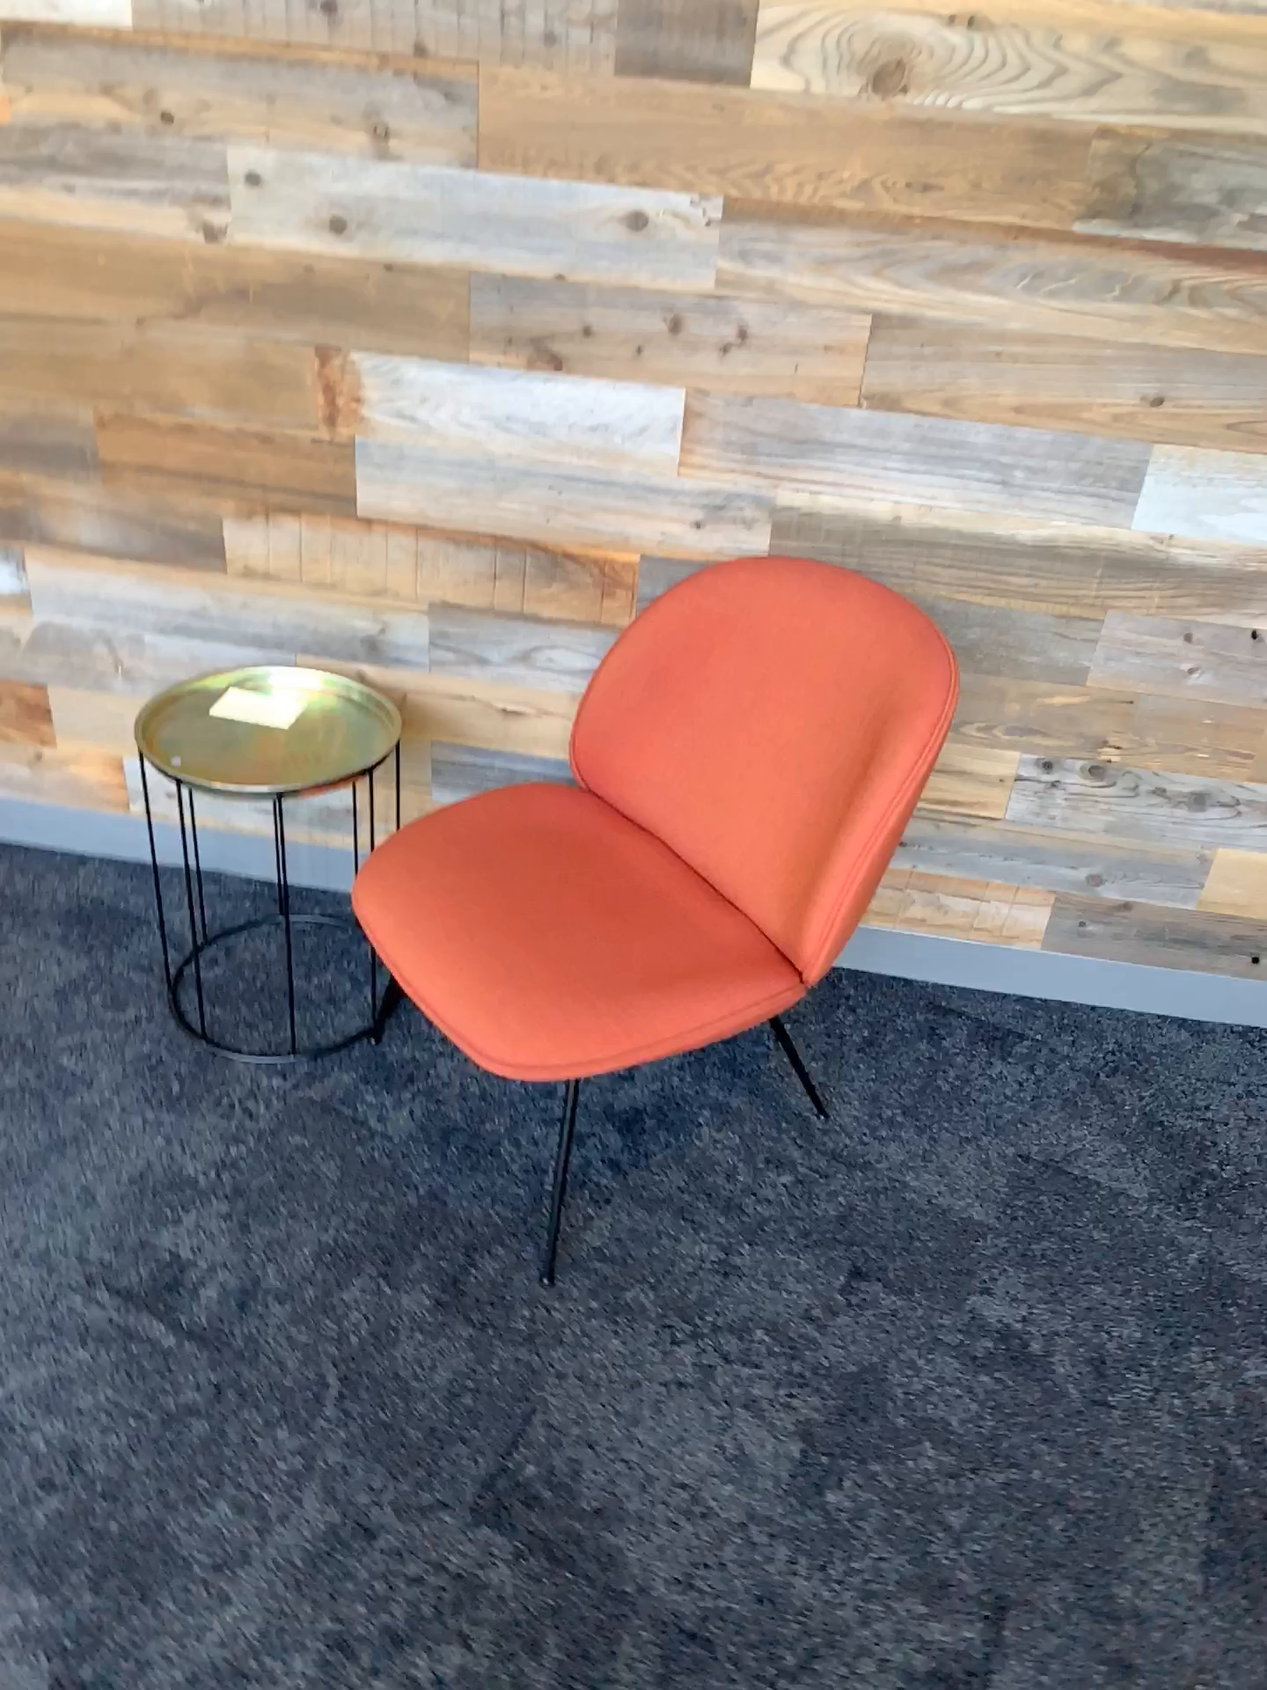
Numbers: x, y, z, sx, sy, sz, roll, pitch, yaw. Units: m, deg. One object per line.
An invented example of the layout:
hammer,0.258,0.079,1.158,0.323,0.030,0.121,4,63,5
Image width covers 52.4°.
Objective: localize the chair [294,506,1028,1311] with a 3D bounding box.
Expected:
chair,0.009,0.034,1.794,0.711,0.755,0.573,-19,40,-33
